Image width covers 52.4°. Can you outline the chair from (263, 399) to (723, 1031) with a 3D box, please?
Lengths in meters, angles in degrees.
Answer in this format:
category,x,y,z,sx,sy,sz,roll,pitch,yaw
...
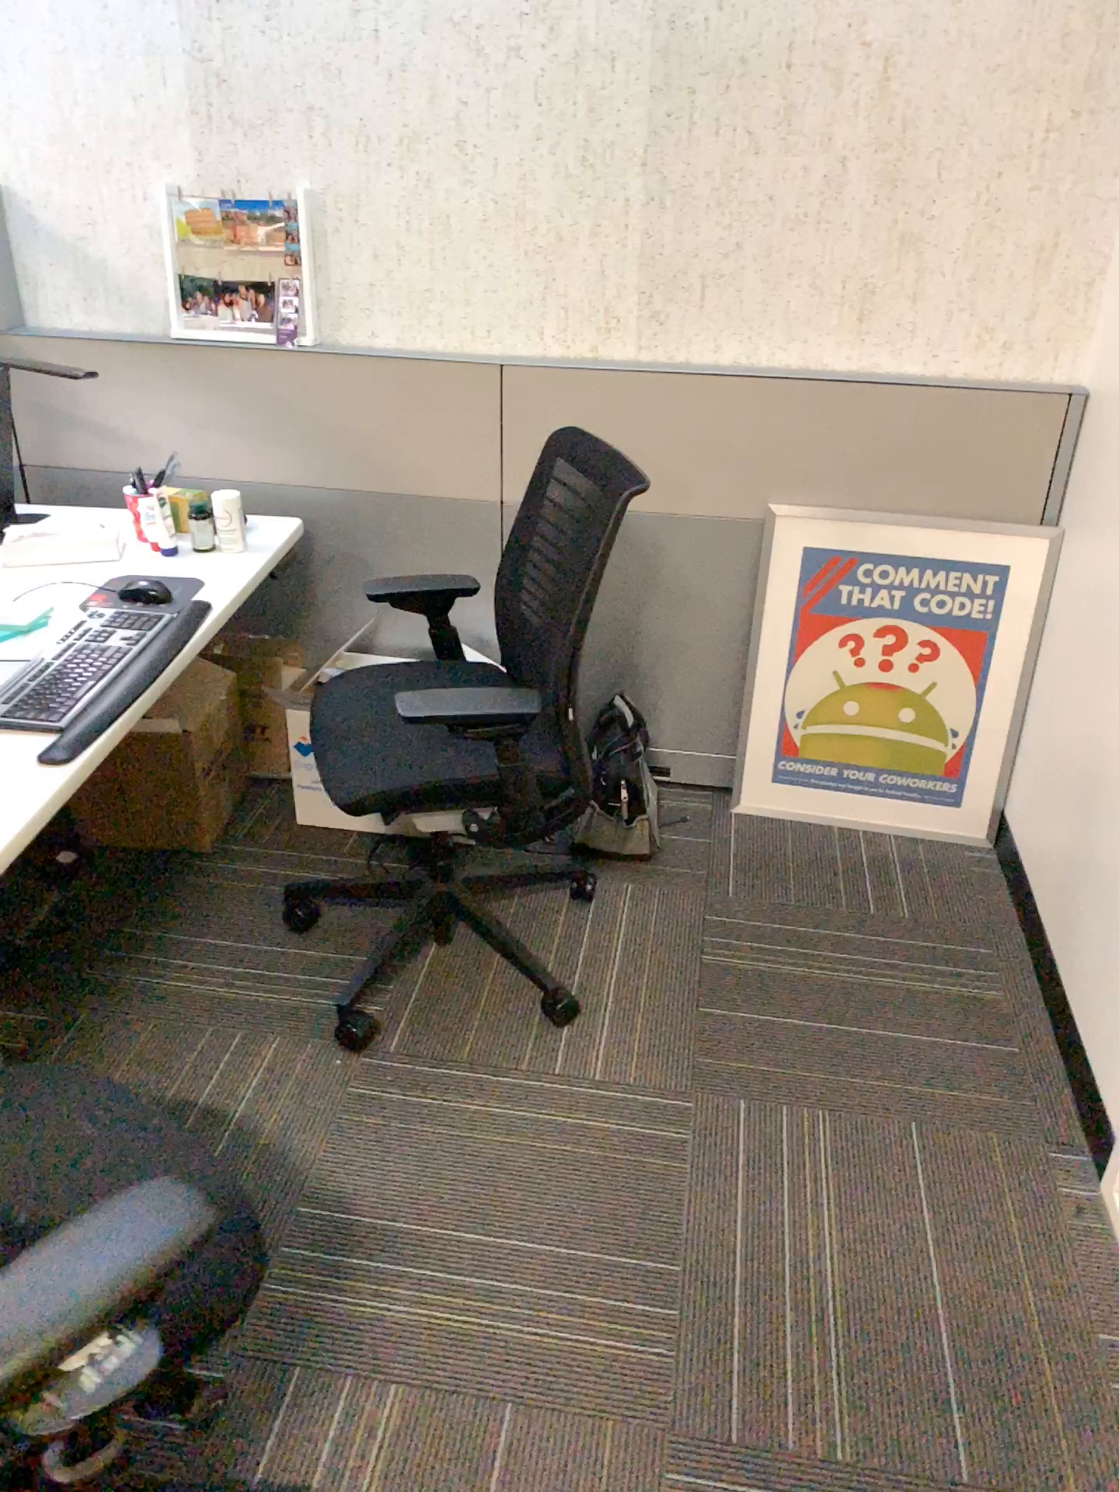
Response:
category,x,y,z,sx,sy,sz,roll,pitch,yaw
chair,-0.165,-0.101,2.217,0.650,0.955,0.674,-8,30,-16
